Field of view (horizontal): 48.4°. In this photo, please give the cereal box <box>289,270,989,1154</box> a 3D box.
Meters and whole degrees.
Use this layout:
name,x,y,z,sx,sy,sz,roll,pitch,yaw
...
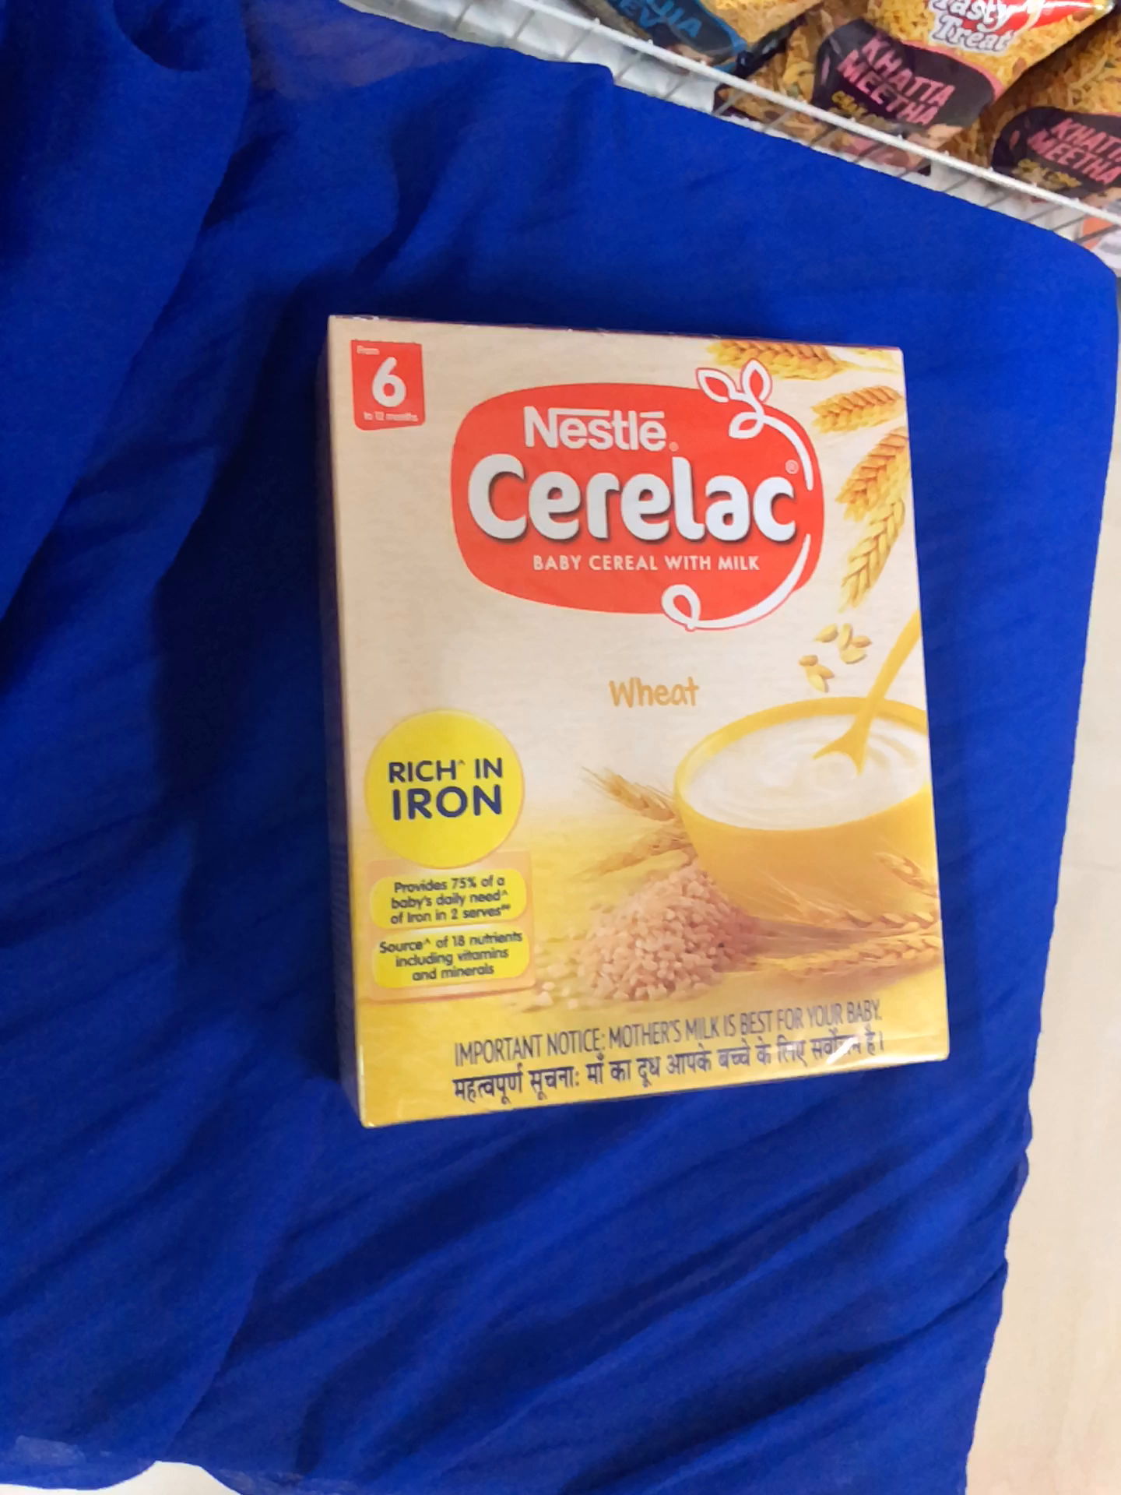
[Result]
name,x,y,z,sx,sy,sz,roll,pitch,yaw
cereal box,0.019,-0.010,0.322,0.160,0.060,0.190,-2,87,-20
